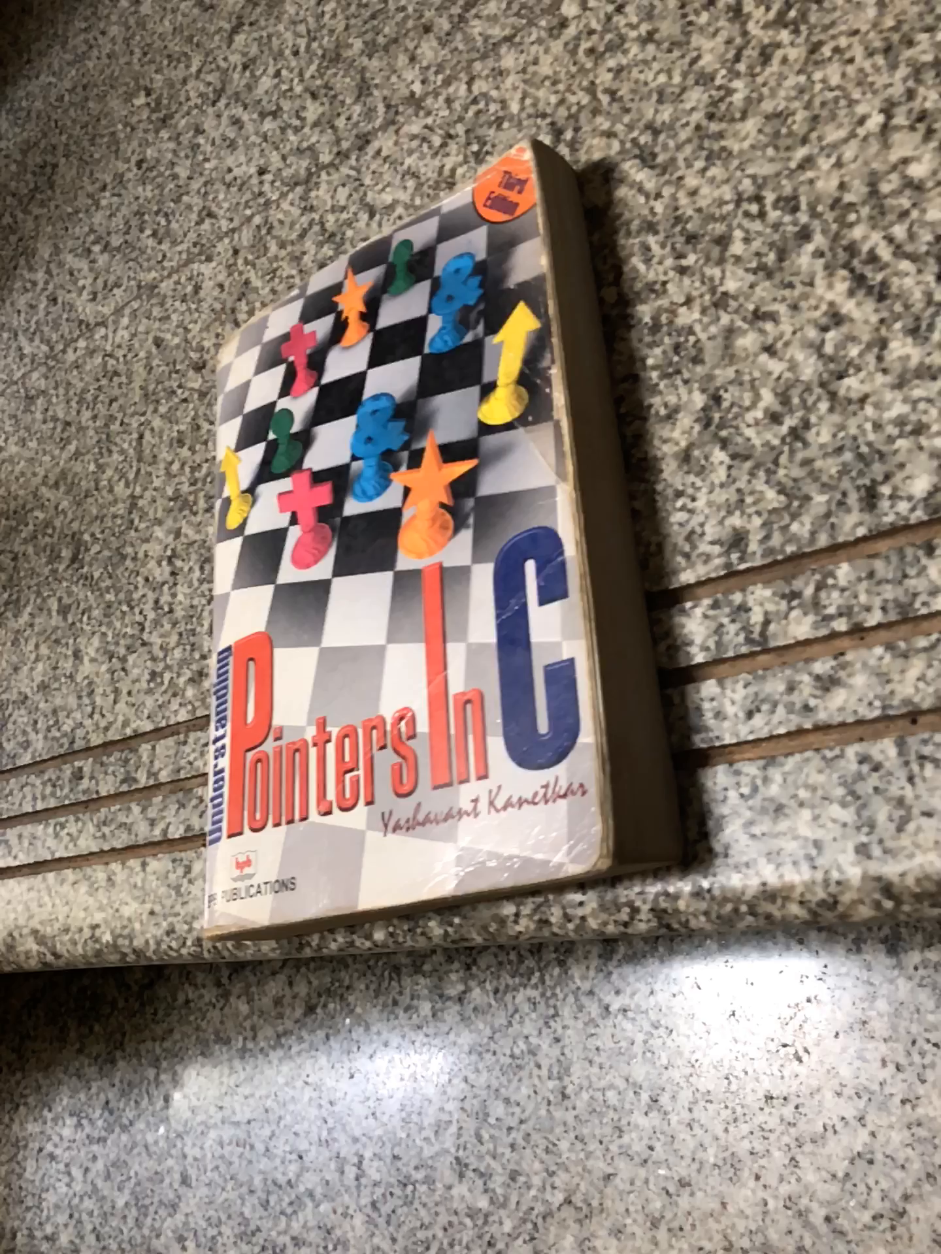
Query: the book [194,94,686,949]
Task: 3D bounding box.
[{"bbox_3d":[-0.020,-0.027,0.307,0.141,0.030,0.220,-19,63,35],"label":"book"}]
